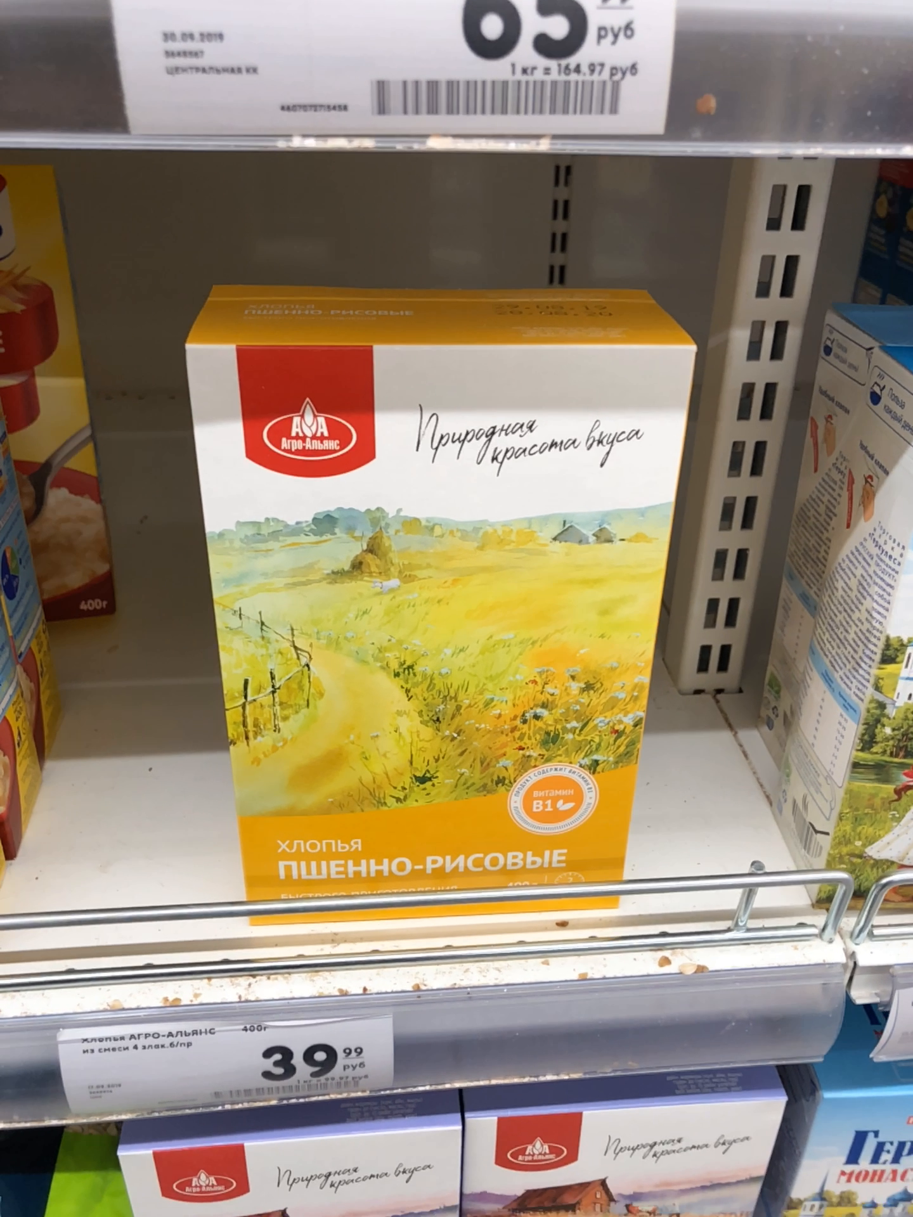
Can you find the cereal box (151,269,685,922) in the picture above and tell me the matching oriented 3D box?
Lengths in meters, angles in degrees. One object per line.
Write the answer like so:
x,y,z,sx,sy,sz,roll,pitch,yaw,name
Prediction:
-0.012,0.002,0.322,0.130,0.199,0.060,-2,30,-4,cereal box
